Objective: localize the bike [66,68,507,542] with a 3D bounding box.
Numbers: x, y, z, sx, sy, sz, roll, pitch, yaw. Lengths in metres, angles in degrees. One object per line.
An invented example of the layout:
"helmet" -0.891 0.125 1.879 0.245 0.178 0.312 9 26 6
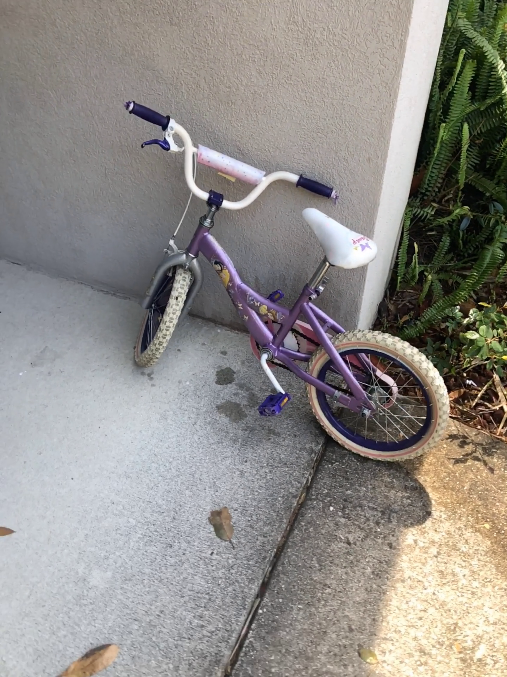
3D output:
"bike" 0.139 -0.128 1.444 0.847 0.816 0.618 22 45 23
